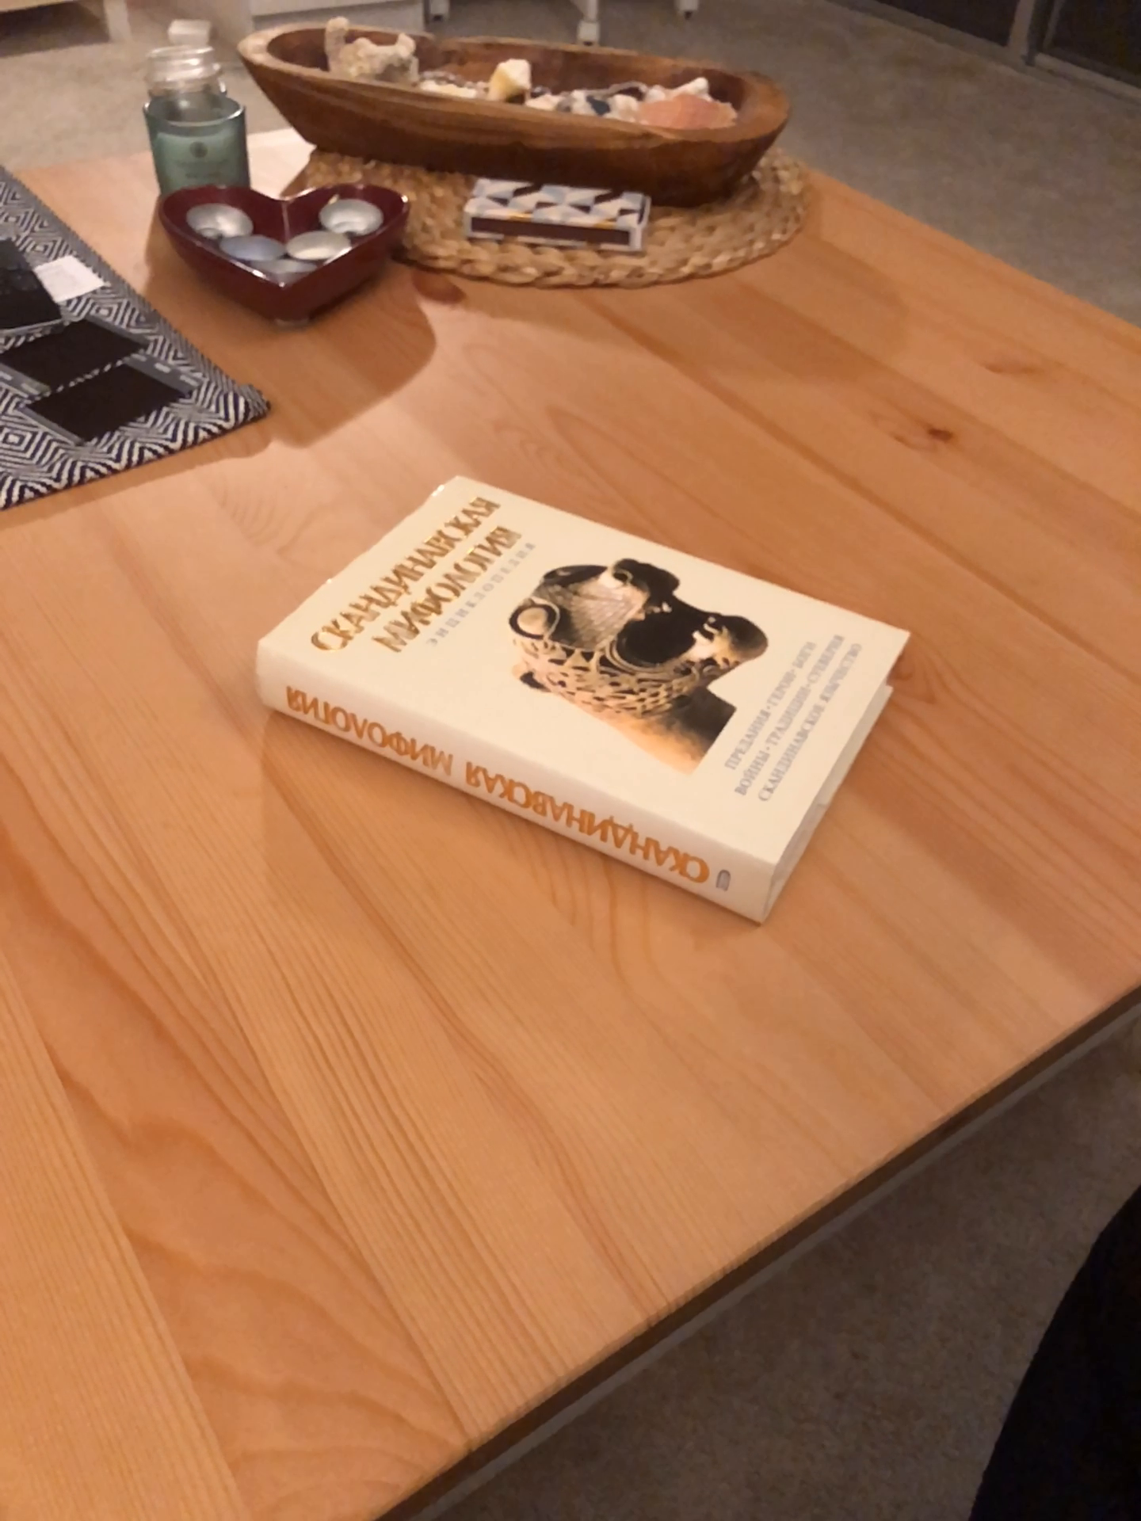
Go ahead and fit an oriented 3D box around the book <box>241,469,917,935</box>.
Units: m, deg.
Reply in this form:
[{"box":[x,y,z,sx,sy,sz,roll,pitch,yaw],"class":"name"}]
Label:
[{"box":[0.006,-0.037,0.497,0.215,0.030,0.151,23,47,18],"class":"book"}]
